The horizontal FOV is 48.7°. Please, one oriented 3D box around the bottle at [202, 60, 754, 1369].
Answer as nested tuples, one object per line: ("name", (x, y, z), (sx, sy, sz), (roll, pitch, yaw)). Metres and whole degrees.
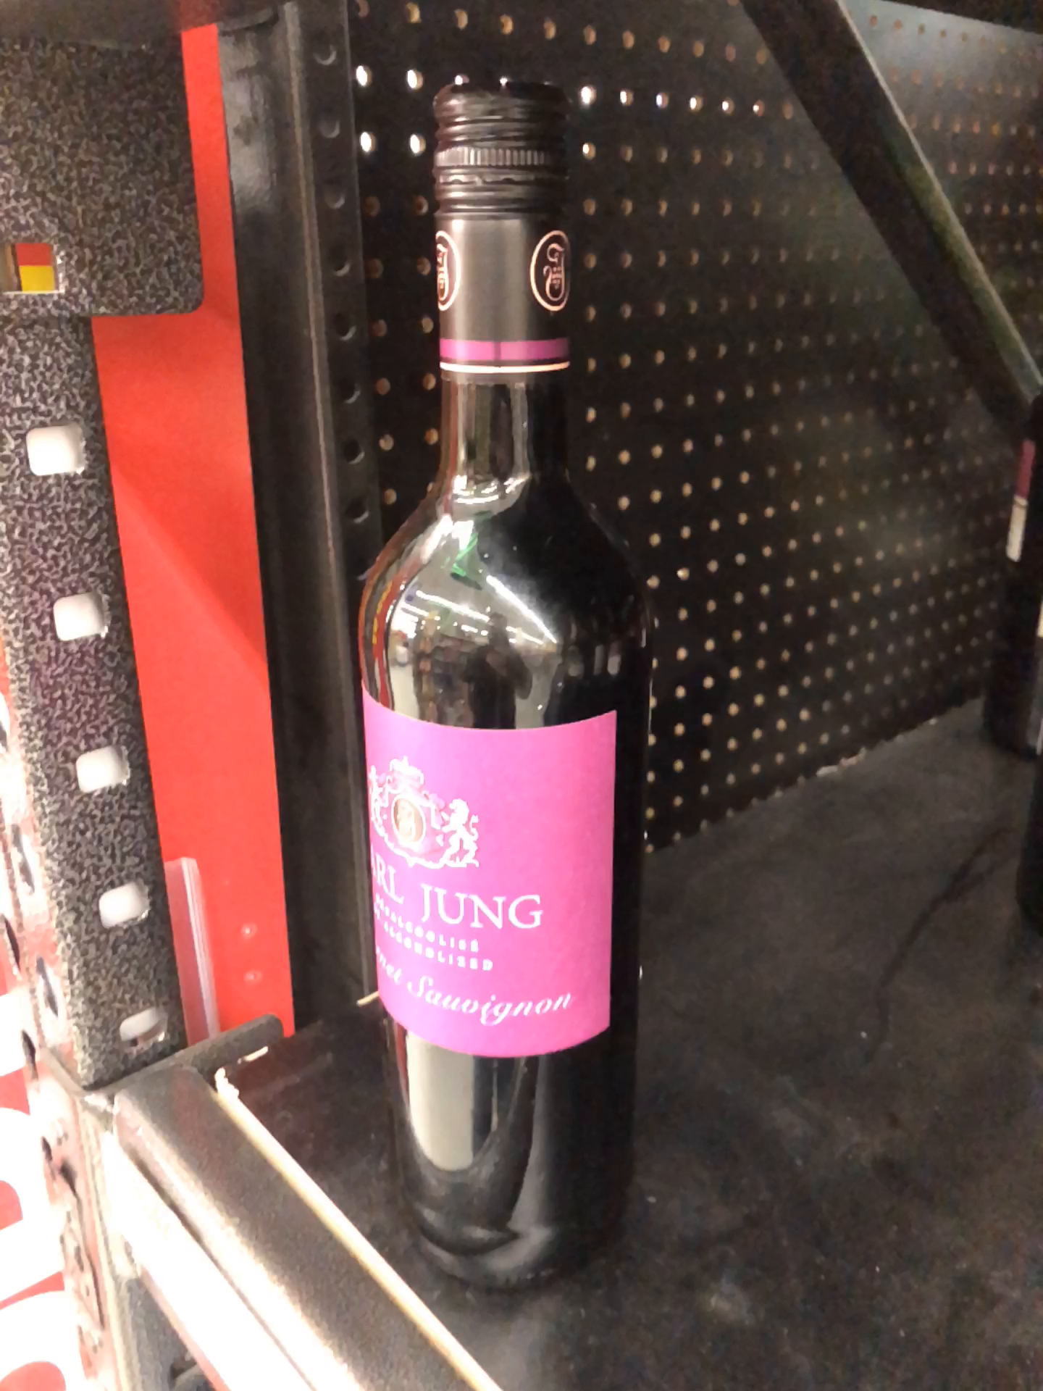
("bottle", (-0.006, 0.012, 0.288), (0.080, 0.288, 0.080), (-1, 21, 0))
